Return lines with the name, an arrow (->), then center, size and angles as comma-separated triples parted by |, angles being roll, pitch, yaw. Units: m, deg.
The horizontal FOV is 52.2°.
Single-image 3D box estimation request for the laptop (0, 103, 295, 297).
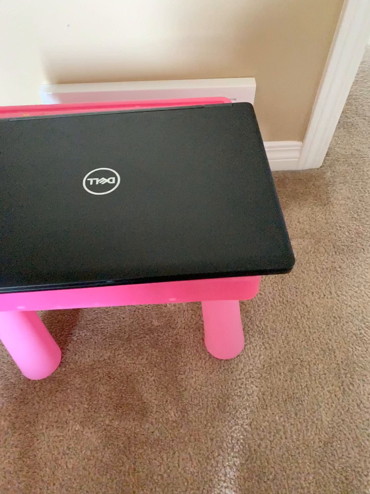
laptop -> -0.091, -0.068, 0.411 | 0.366, 0.005, 0.241 | -4, 56, -1
